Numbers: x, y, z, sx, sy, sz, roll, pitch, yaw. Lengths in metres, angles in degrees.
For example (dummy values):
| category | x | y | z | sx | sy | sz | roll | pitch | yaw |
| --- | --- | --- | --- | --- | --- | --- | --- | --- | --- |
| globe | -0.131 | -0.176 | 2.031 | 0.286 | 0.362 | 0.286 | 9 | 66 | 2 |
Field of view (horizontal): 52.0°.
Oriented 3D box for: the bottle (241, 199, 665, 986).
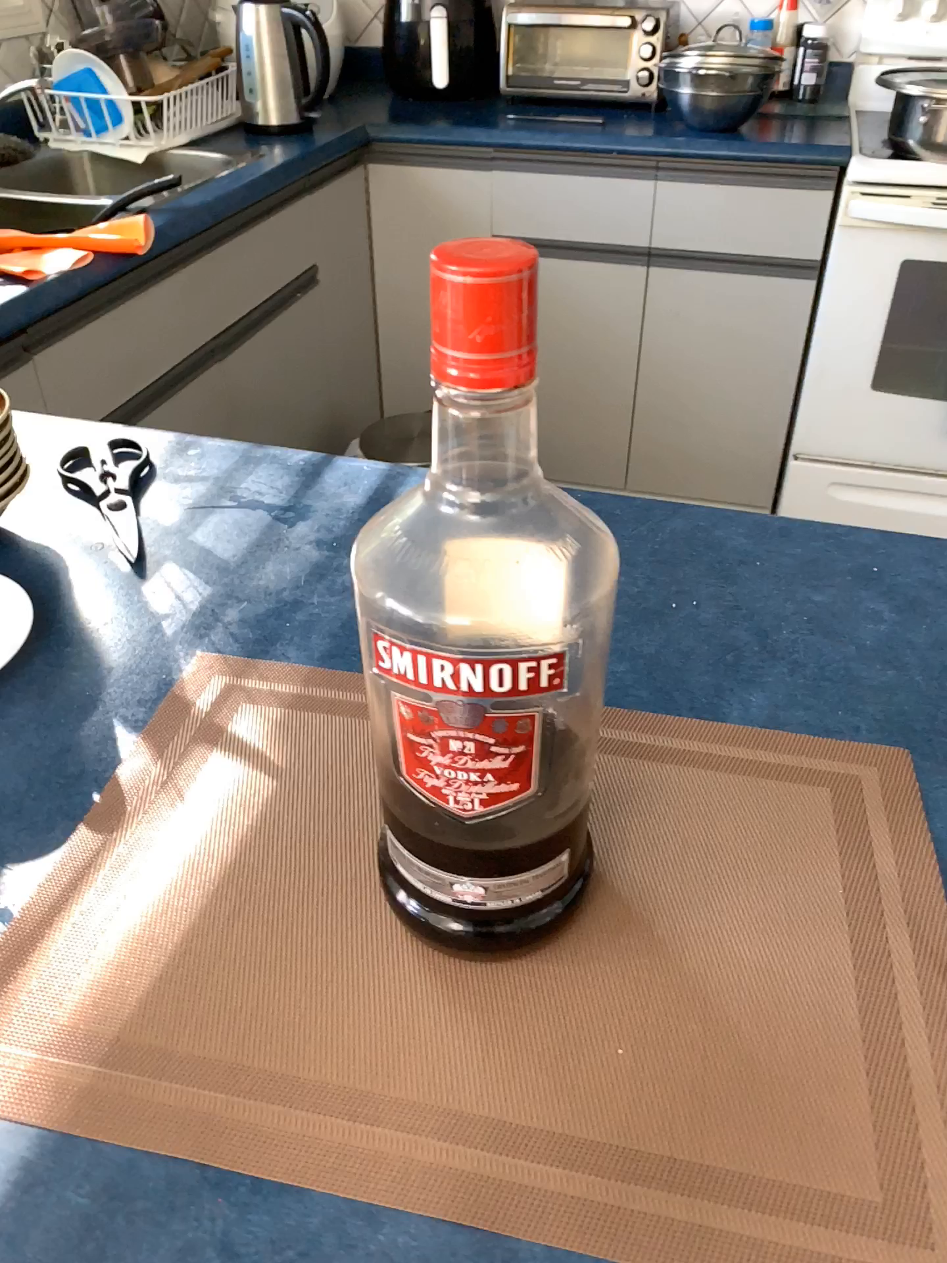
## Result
| category | x | y | z | sx | sy | sz | roll | pitch | yaw |
| --- | --- | --- | --- | --- | --- | --- | --- | --- | --- |
| bottle | 0.002 | 0.000 | 0.417 | 0.120 | 0.317 | 0.111 | 0 | 36 | 0 |
